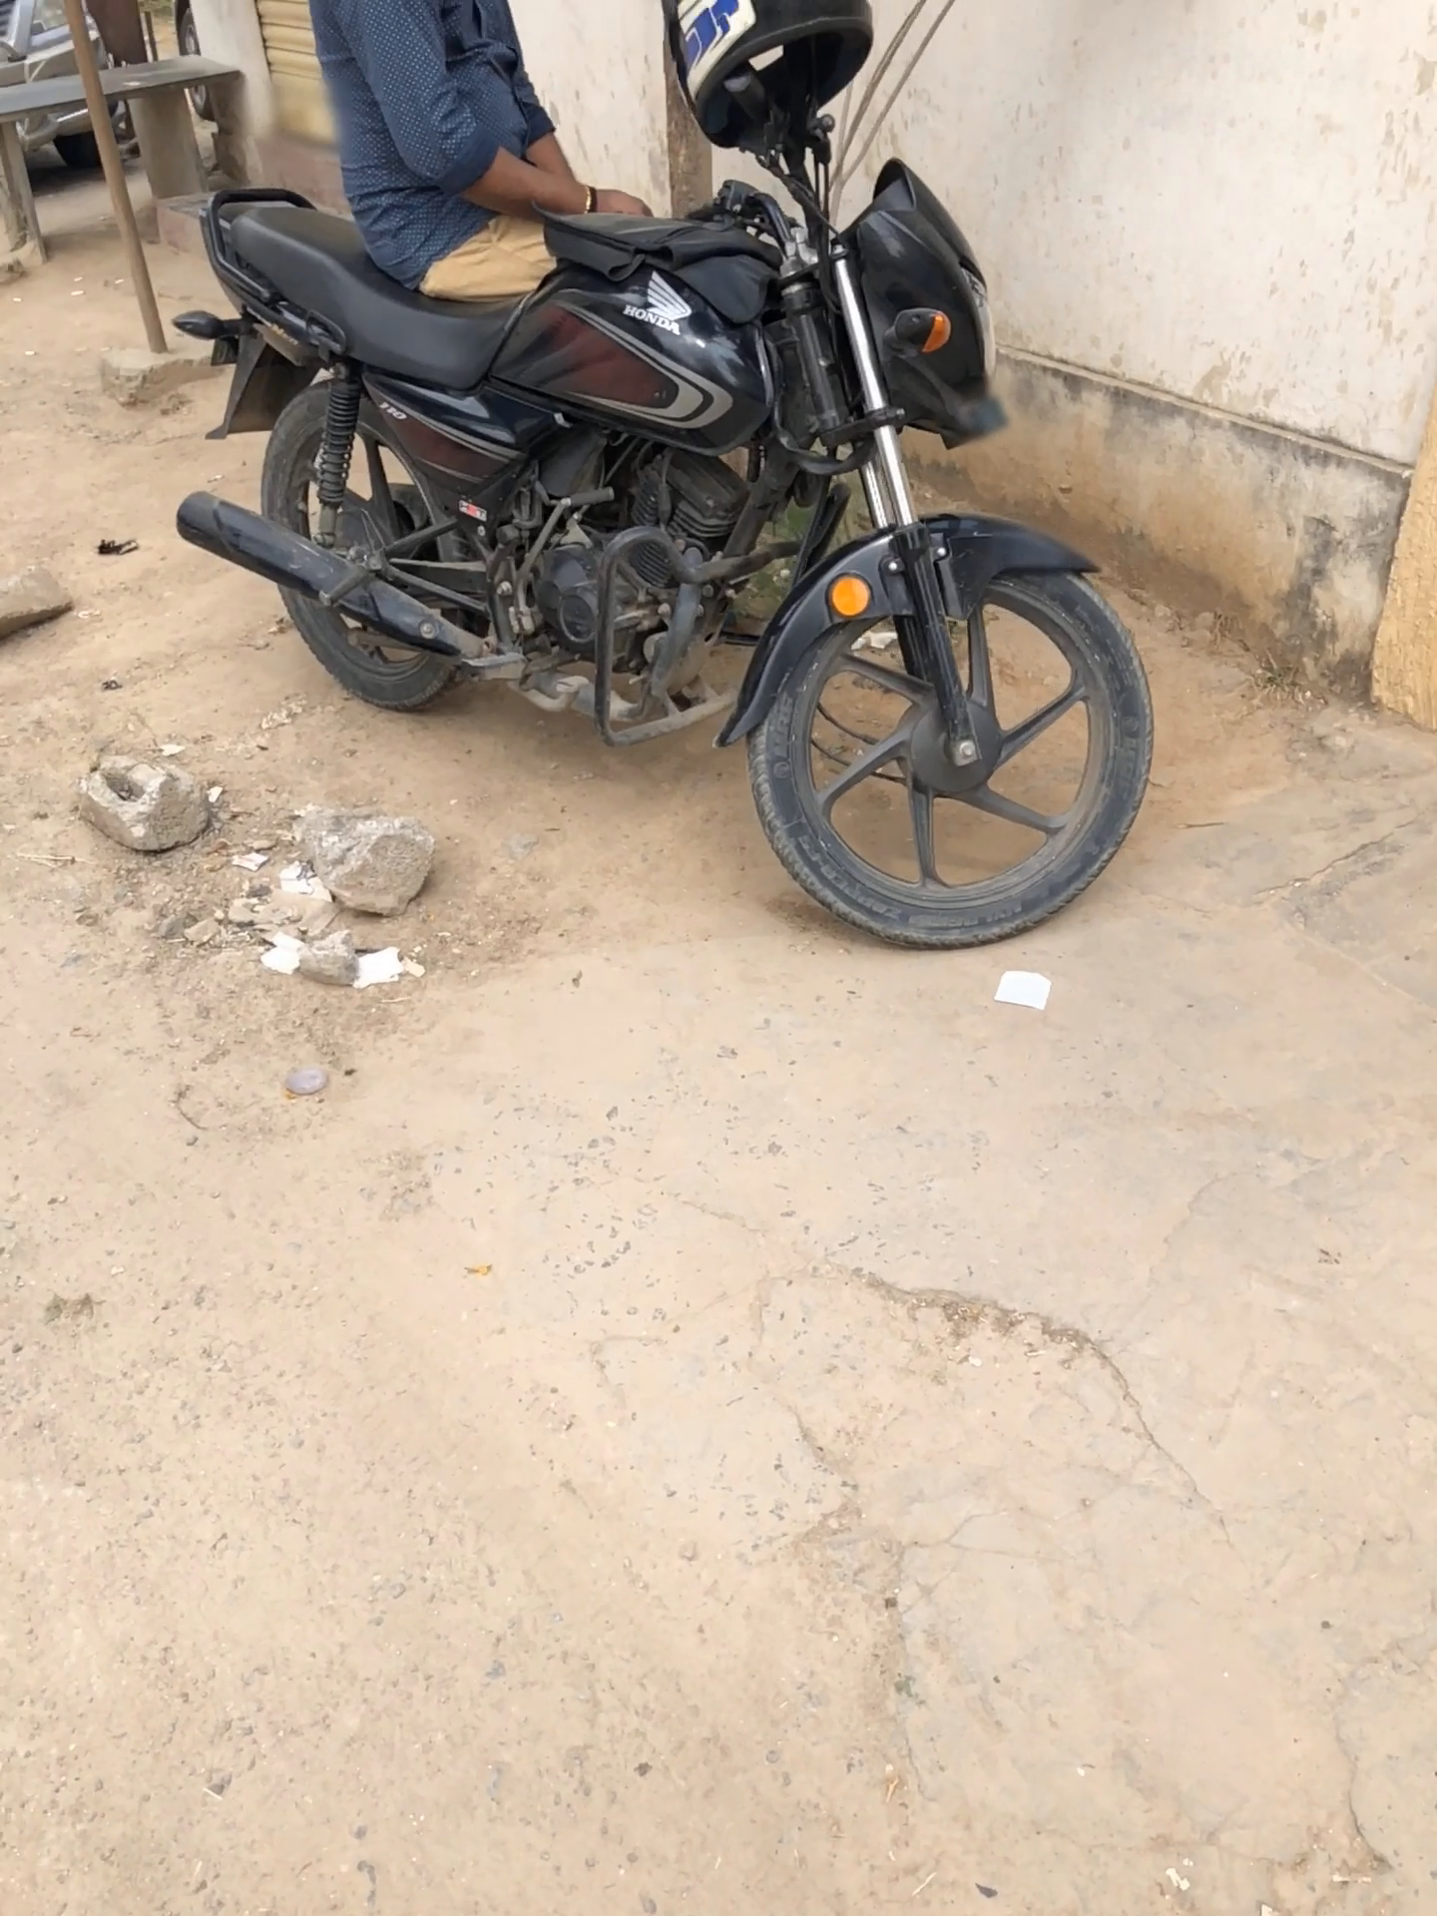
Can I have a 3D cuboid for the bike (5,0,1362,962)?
[{"bbox_3d":[-0.071,-0.837,2.496,1.664,1.069,0.725,18,41,25],"label":"bike"}]
